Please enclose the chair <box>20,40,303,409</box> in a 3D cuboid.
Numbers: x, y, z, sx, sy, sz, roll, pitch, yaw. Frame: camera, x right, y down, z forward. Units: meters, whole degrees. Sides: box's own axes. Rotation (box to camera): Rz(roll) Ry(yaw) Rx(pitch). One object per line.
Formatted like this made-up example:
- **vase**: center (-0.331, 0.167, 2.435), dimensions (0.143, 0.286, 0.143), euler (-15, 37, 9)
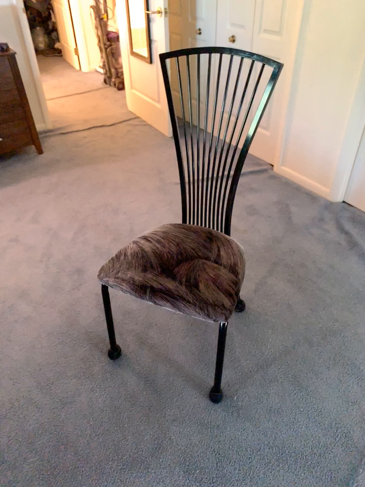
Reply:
- **chair**: center (-0.001, -0.050, 1.213), dimensions (0.511, 0.974, 0.542), euler (14, 40, 18)
